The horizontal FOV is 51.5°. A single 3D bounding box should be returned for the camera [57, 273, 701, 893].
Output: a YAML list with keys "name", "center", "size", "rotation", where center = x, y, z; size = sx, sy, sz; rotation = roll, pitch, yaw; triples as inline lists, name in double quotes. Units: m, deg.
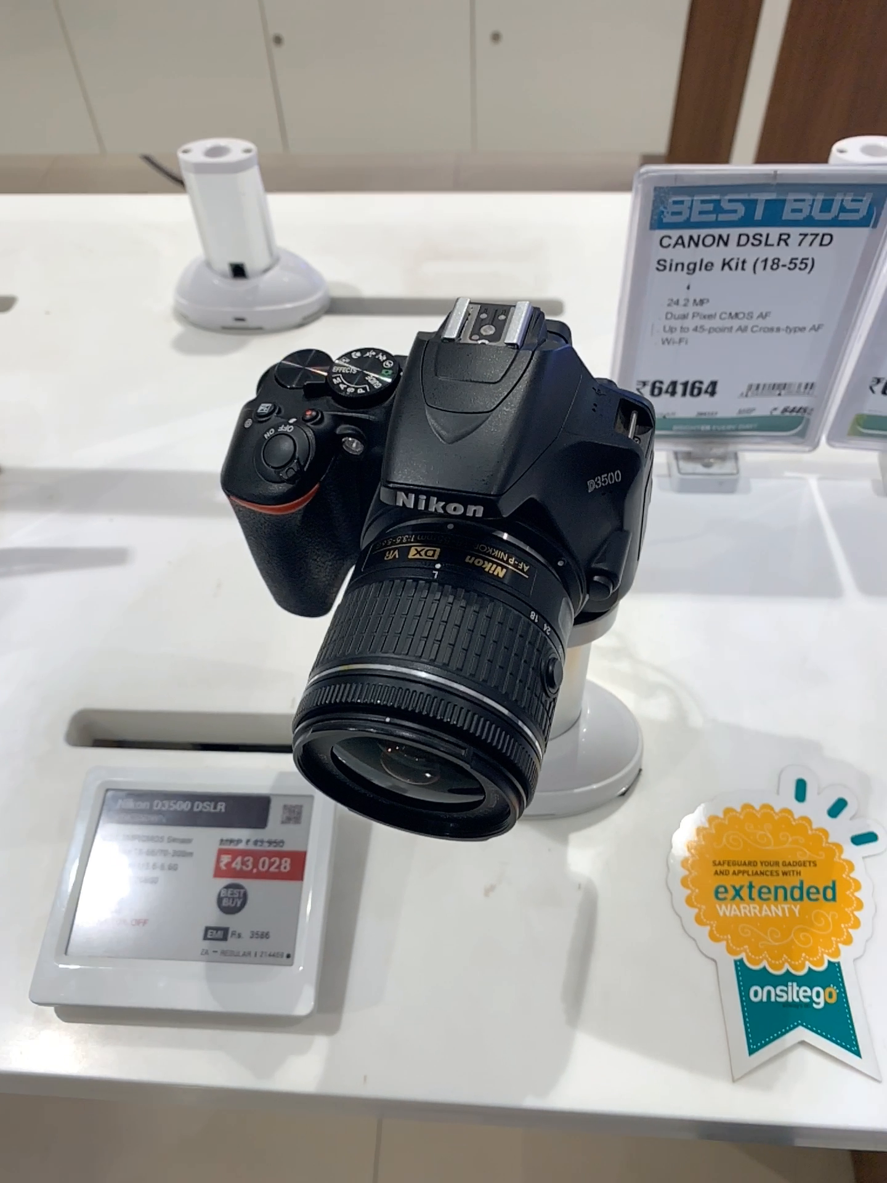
- name: "camera"
  center: [-0.004, -0.004, 0.226]
  size: [0.110, 0.090, 0.103]
  rotation: [10, 52, 10]
